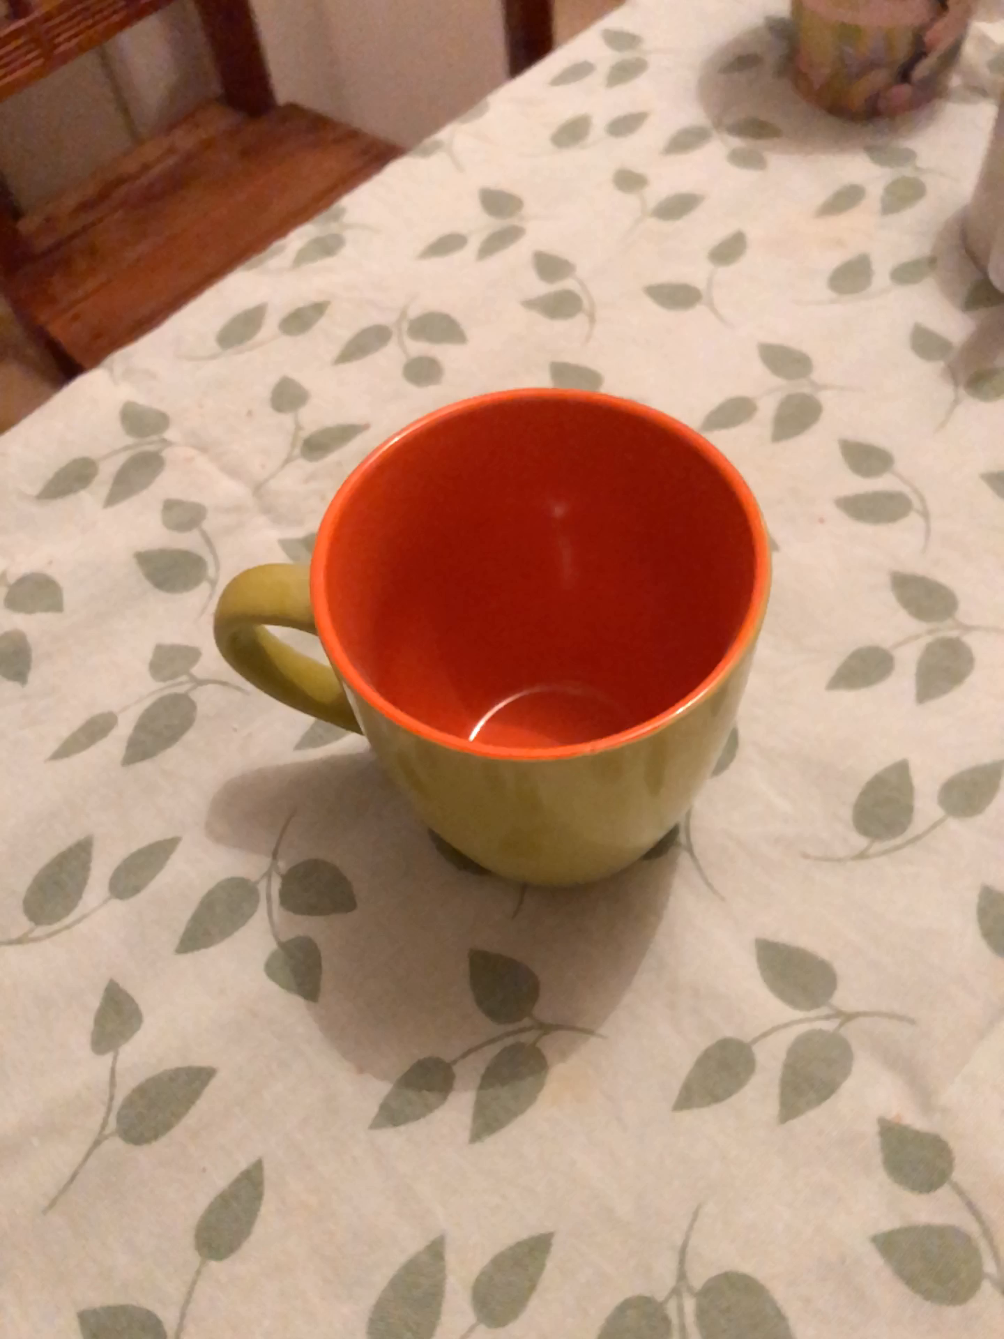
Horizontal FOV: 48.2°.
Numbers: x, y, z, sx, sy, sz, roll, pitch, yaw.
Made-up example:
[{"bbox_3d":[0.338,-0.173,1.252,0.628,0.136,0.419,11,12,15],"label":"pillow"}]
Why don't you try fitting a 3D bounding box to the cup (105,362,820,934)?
[{"bbox_3d":[-0.003,-0.002,0.249,0.120,0.090,0.090,1,58,5],"label":"cup"}]
